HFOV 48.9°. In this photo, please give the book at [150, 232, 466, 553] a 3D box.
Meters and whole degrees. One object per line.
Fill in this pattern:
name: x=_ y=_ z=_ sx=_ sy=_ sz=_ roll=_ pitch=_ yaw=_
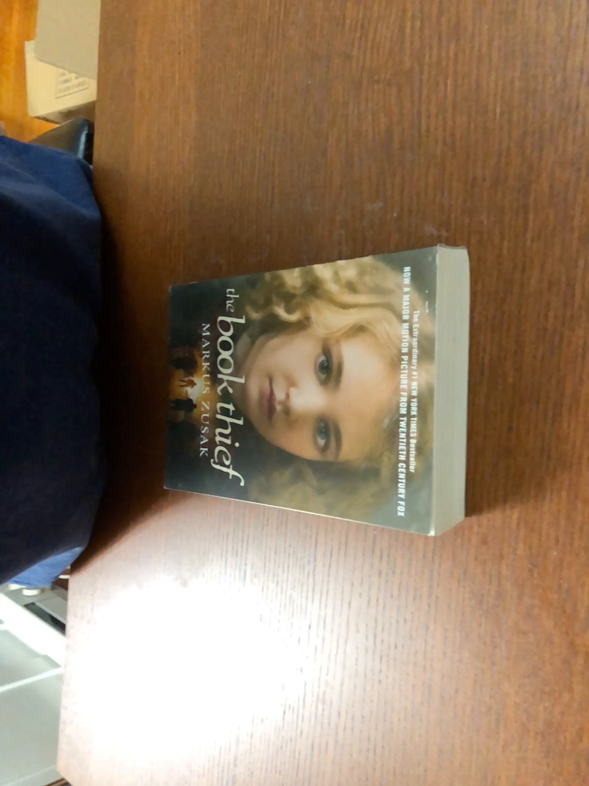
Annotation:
book: x=-0.008 y=-0.003 z=0.389 sx=0.221 sy=0.030 sz=0.150 roll=2 pitch=91 yaw=43
